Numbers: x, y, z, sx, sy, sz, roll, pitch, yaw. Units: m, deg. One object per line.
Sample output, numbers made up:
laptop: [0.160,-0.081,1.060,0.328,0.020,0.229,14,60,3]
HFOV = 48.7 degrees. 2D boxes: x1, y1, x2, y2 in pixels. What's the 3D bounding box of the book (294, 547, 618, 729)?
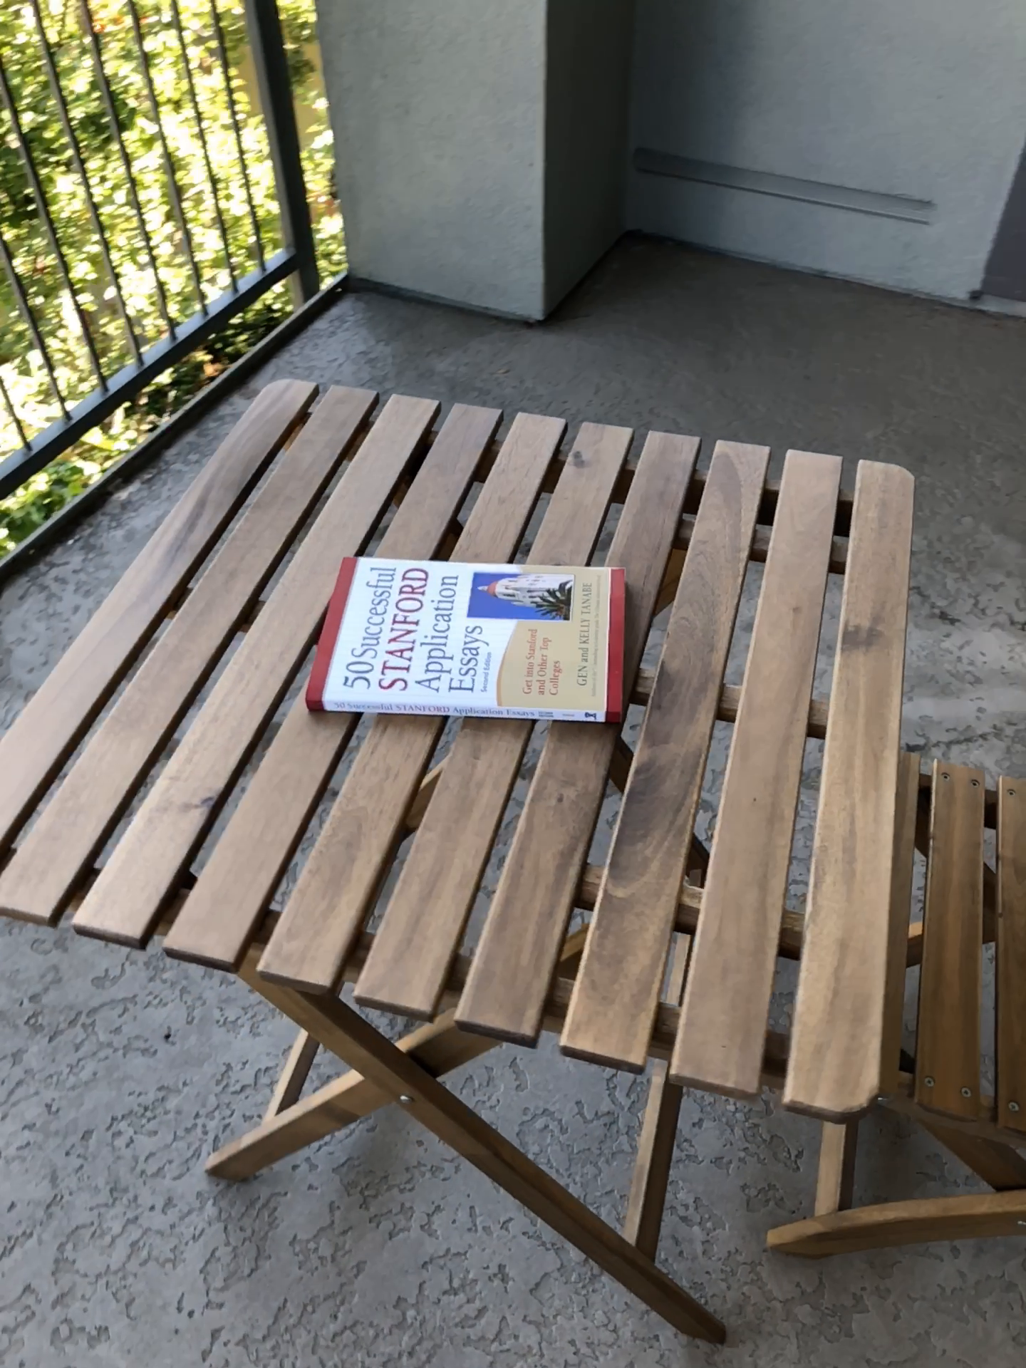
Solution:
book: [-0.036,-0.038,0.844,0.224,0.020,0.157,3,48,3]
